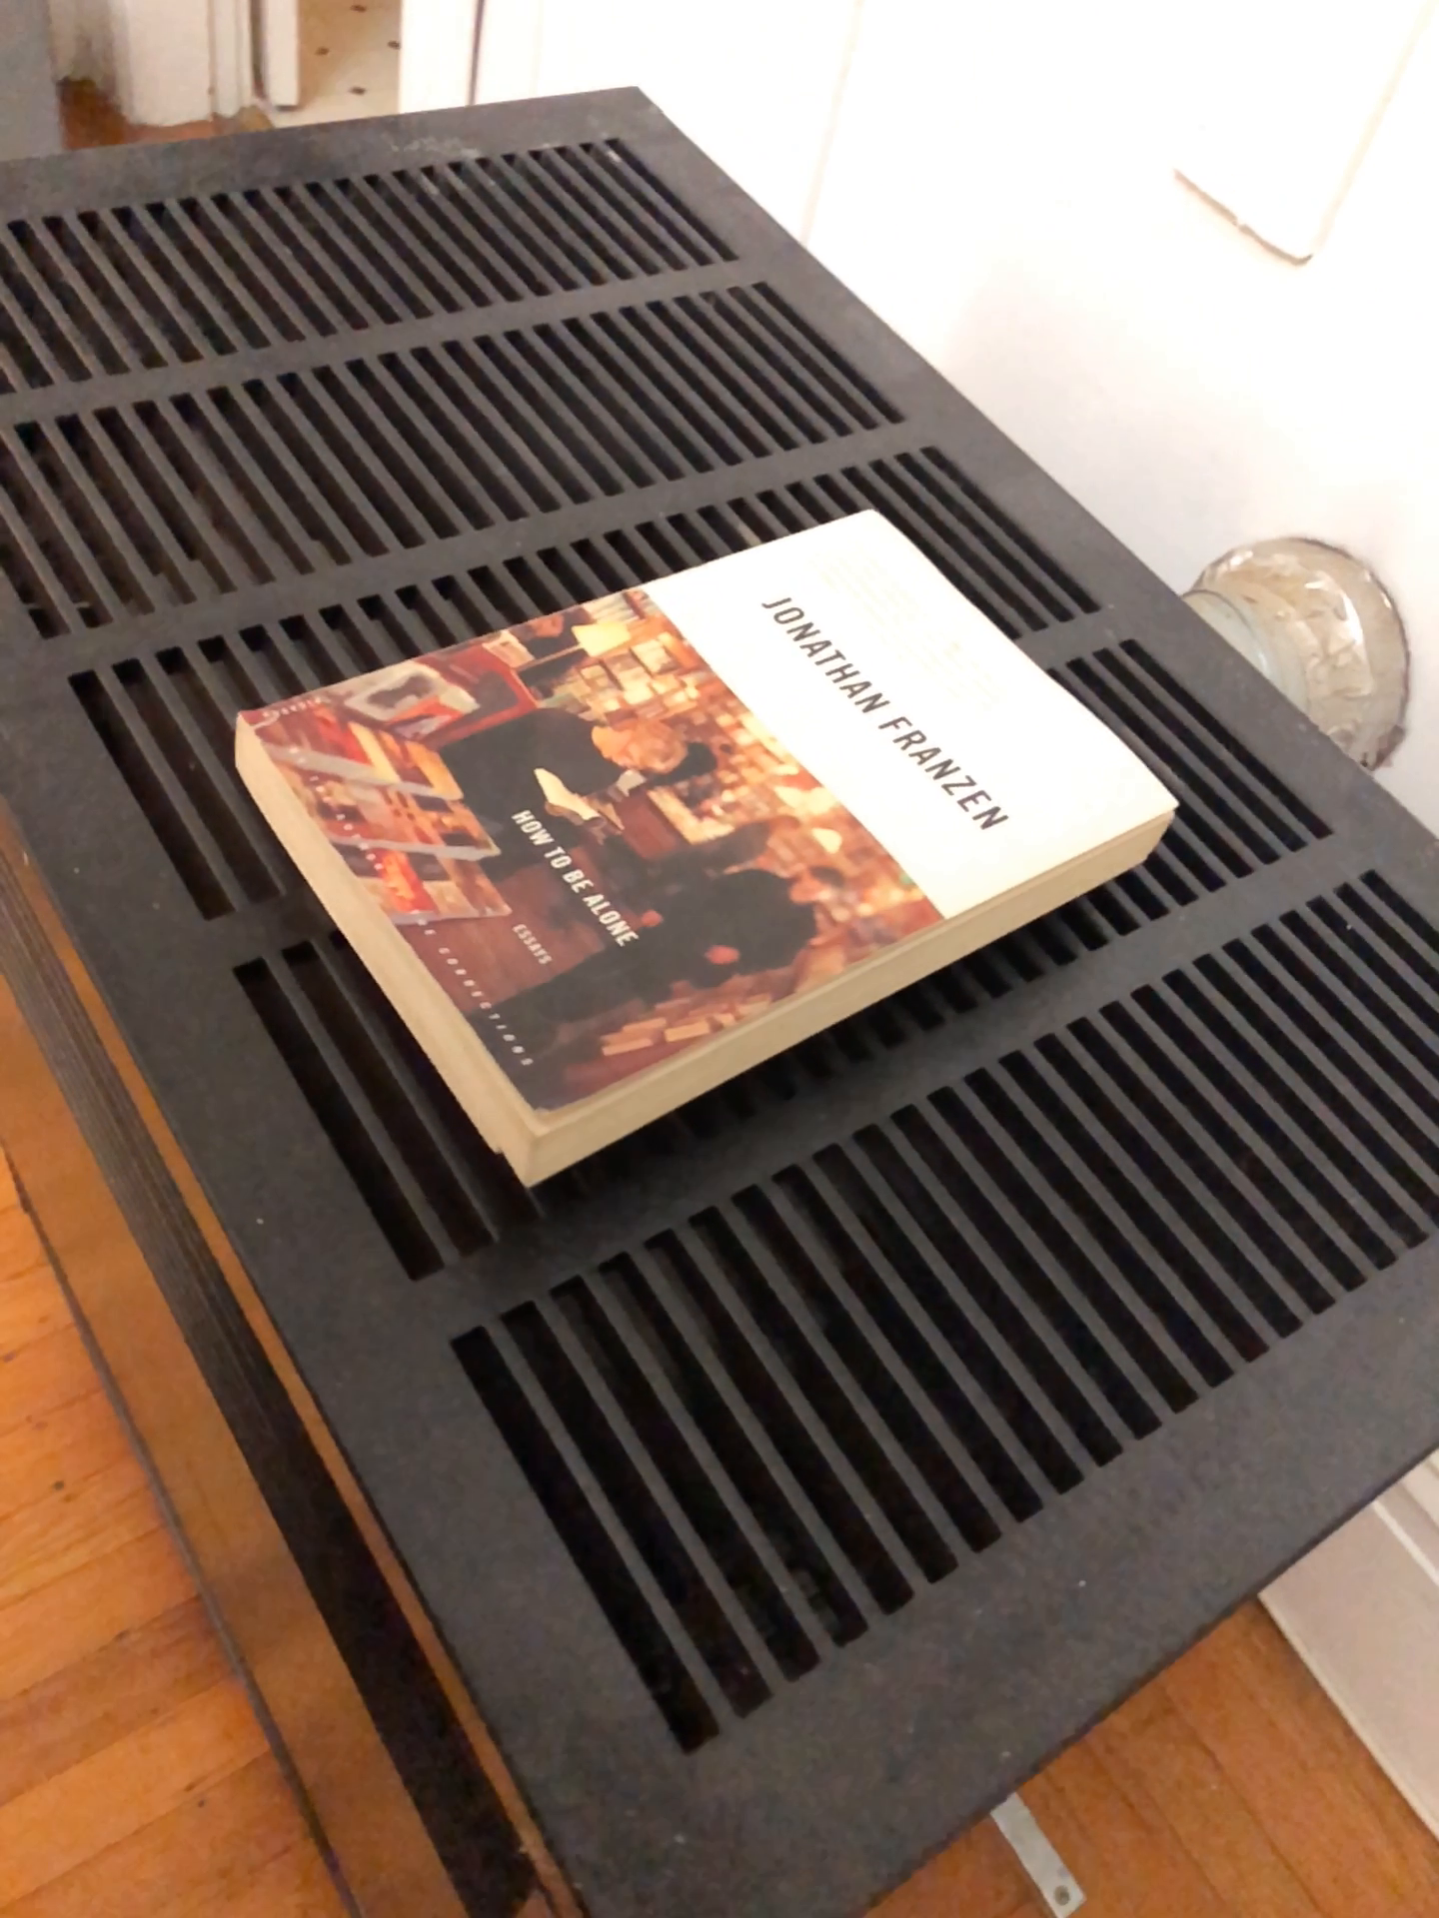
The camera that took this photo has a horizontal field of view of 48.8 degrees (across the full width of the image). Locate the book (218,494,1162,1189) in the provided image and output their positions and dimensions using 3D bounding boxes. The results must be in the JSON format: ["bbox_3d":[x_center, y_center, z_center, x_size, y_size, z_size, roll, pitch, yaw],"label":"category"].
[{"bbox_3d":[-0.004,-0.048,0.438,0.211,0.030,0.150,-26,62,-30],"label":"book"}]

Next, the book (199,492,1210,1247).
[{"bbox_3d":[0.000,-0.040,0.409,0.211,0.030,0.150,-26,62,-30],"label":"book"}]
